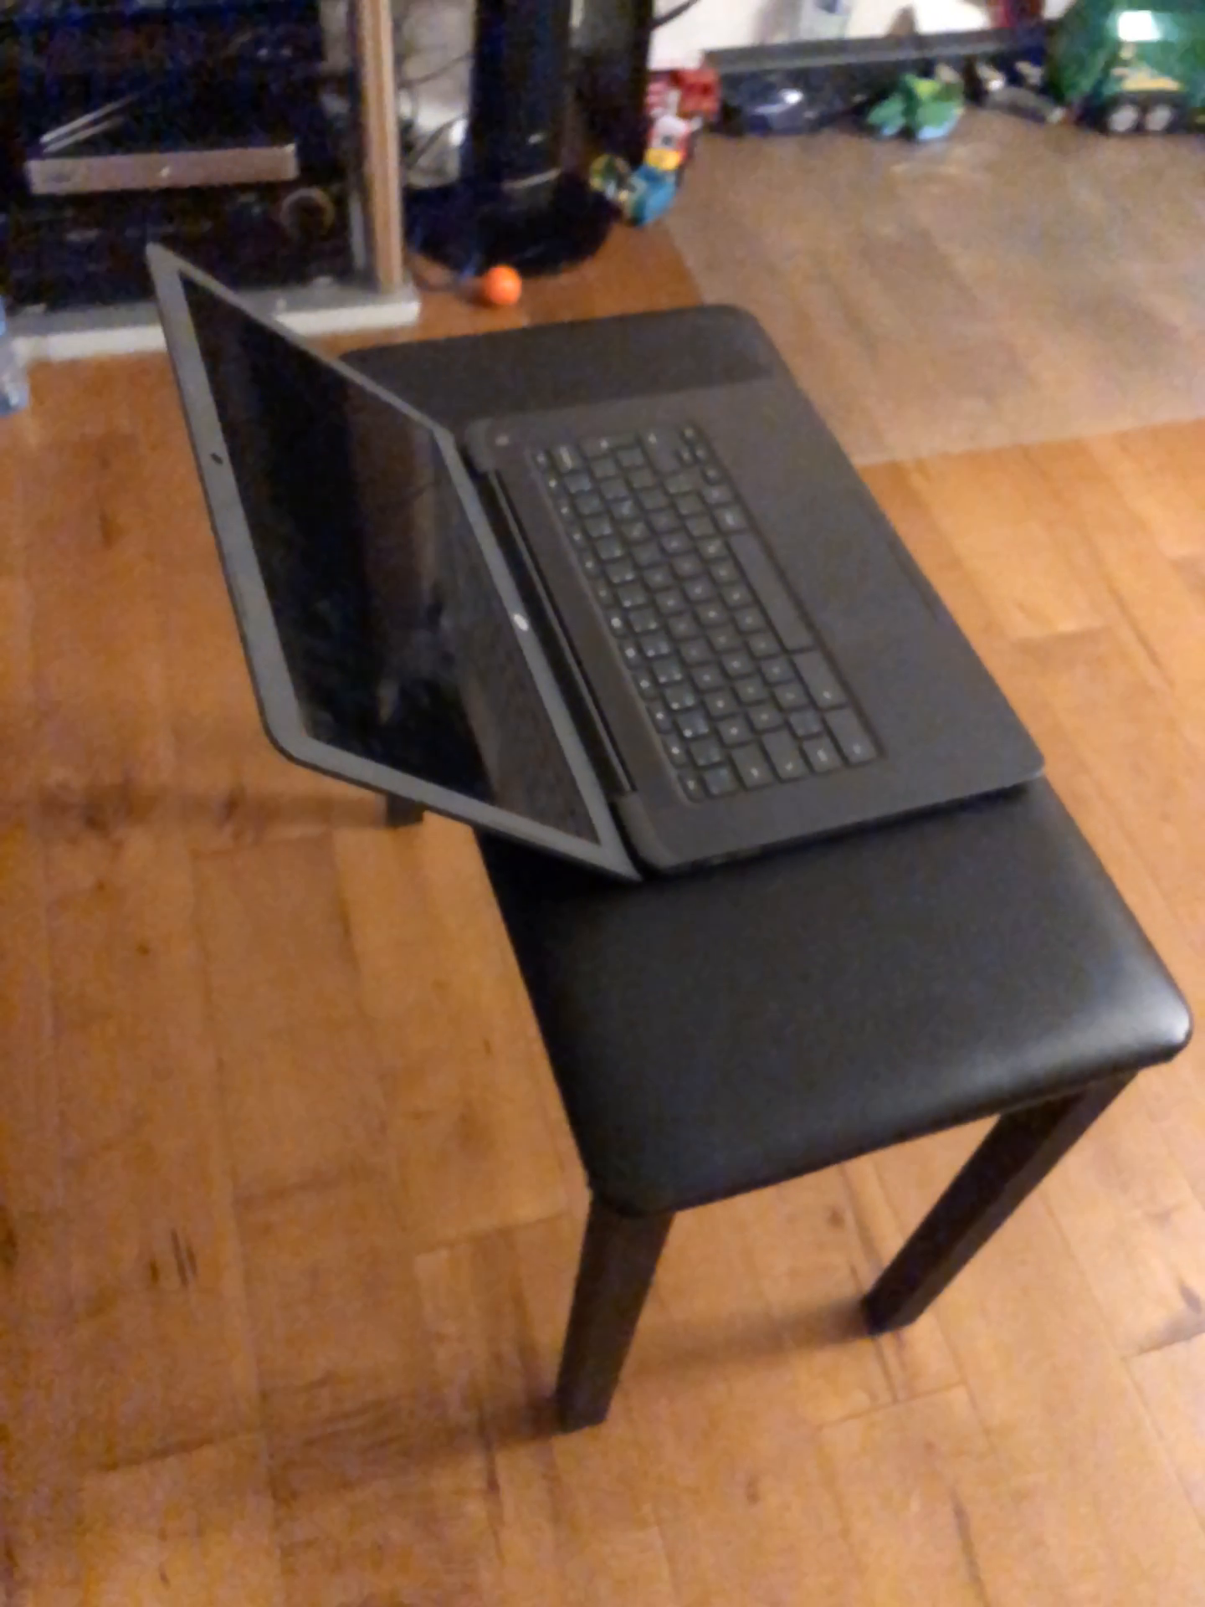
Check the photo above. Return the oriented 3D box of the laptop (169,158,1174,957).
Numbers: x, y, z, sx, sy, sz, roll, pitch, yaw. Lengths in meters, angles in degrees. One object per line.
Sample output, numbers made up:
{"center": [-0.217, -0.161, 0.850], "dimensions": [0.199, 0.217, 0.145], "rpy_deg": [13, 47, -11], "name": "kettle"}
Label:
{"center": [0.009, -0.142, 0.655], "dimensions": [0.362, 0.144, 0.318], "rpy_deg": [-14, 56, -13], "name": "laptop"}
